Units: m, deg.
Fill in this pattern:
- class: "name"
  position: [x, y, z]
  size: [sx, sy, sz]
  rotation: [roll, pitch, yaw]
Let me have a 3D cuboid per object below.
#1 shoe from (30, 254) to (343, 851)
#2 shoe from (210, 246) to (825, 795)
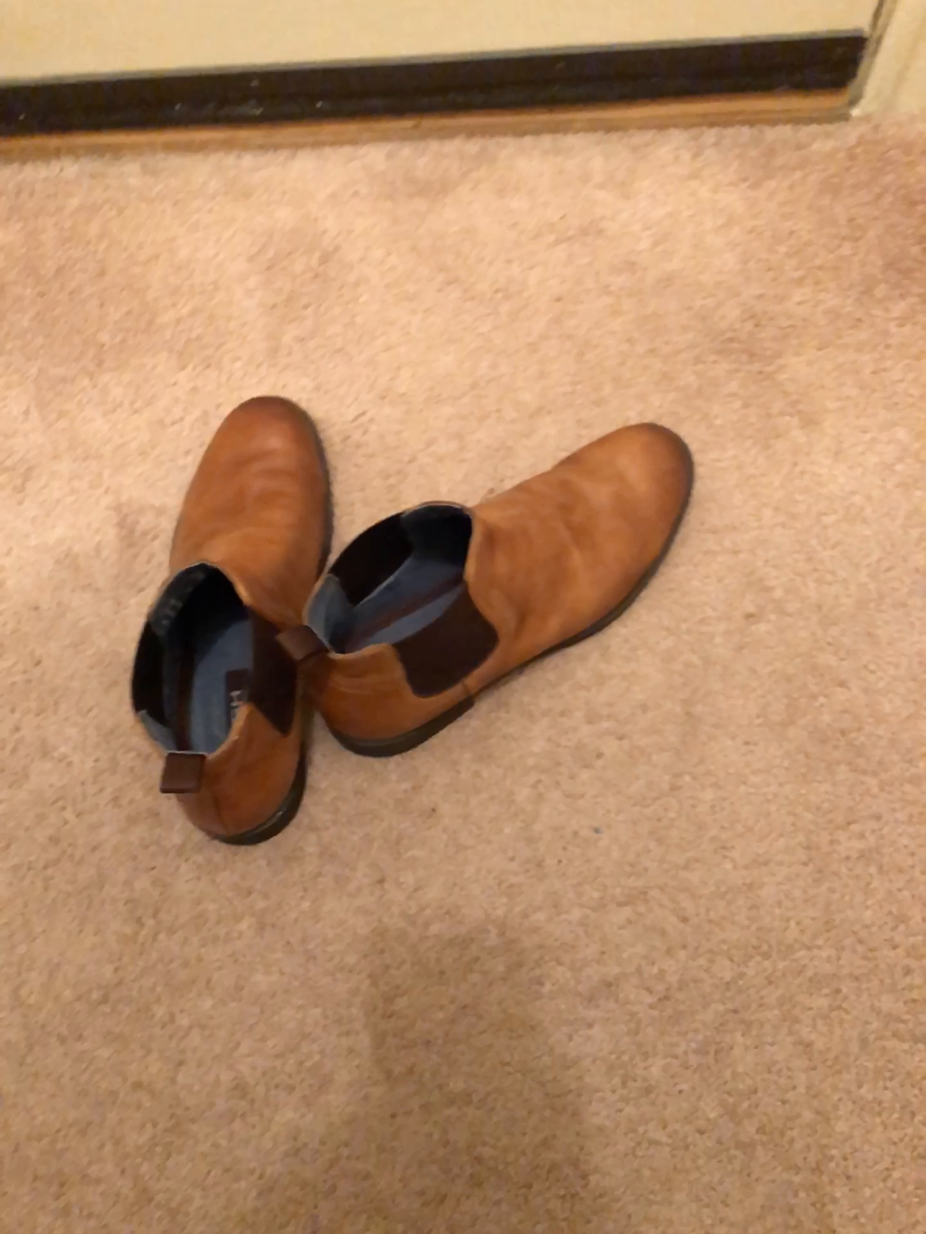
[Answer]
- class: "shoe"
  position: [-0.143, -0.032, 0.606]
  size: [0.109, 0.166, 0.313]
  rotation: [0, 68, 1]
- class: "shoe"
  position: [0.034, -0.049, 0.598]
  size: [0.312, 0.166, 0.109]
  rotation: [-35, 72, -12]
